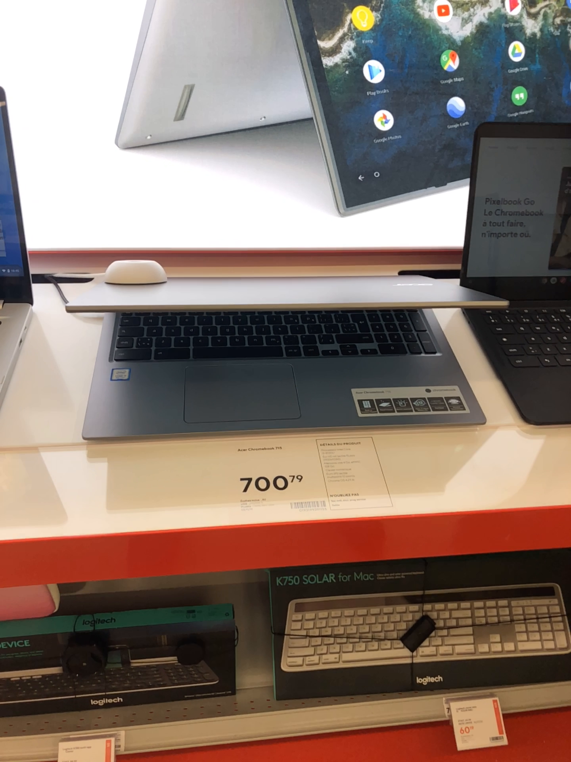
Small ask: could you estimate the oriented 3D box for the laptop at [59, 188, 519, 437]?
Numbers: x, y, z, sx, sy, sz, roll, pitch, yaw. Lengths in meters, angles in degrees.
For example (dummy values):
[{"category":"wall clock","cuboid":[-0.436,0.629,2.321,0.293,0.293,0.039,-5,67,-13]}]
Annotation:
[{"category":"laptop","cuboid":[-0.002,-0.082,0.620,0.368,0.109,0.245,-2,41,-9]}]
